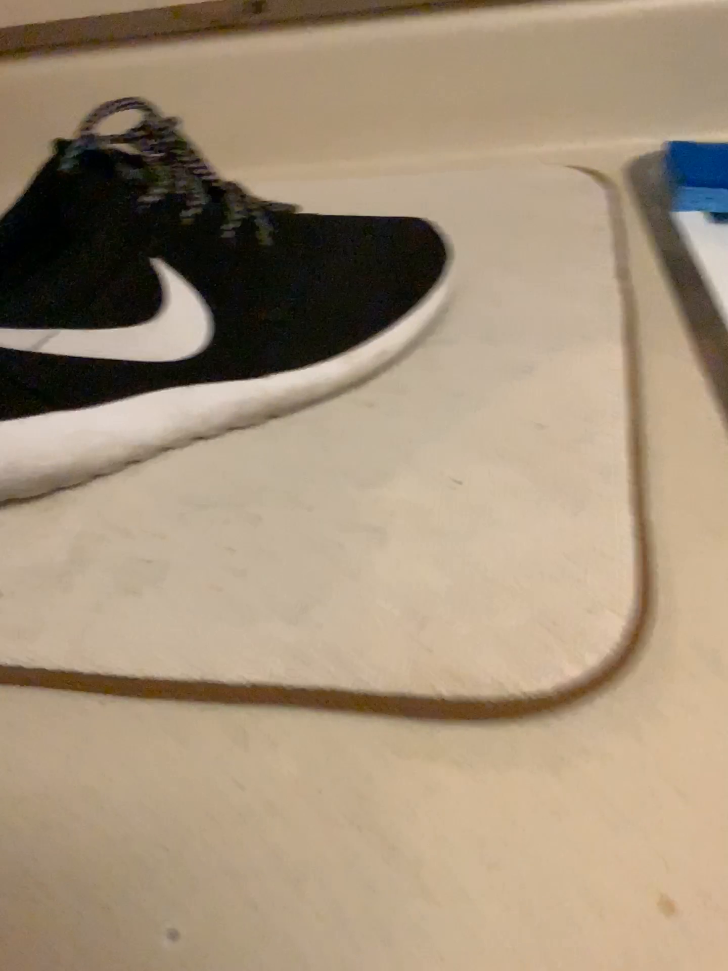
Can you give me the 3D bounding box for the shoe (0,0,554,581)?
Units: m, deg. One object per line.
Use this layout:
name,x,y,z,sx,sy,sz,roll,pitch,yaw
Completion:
shoe,-0.076,-0.101,0.337,0.280,0.120,0.130,-25,41,-19
